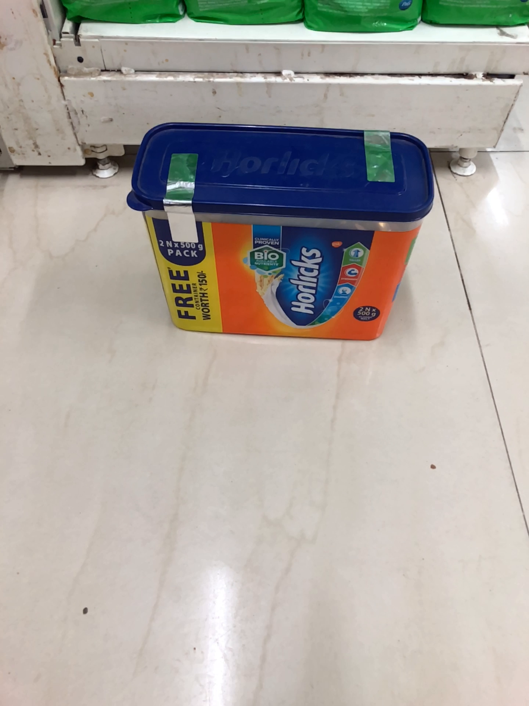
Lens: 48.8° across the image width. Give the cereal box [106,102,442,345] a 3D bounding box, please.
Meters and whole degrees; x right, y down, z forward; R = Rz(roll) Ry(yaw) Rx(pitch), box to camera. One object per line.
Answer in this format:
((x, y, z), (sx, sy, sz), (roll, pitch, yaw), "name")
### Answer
((0.008, -0.098, 0.477), (0.220, 0.159, 0.101), (3, 57, 1), "cereal box")
